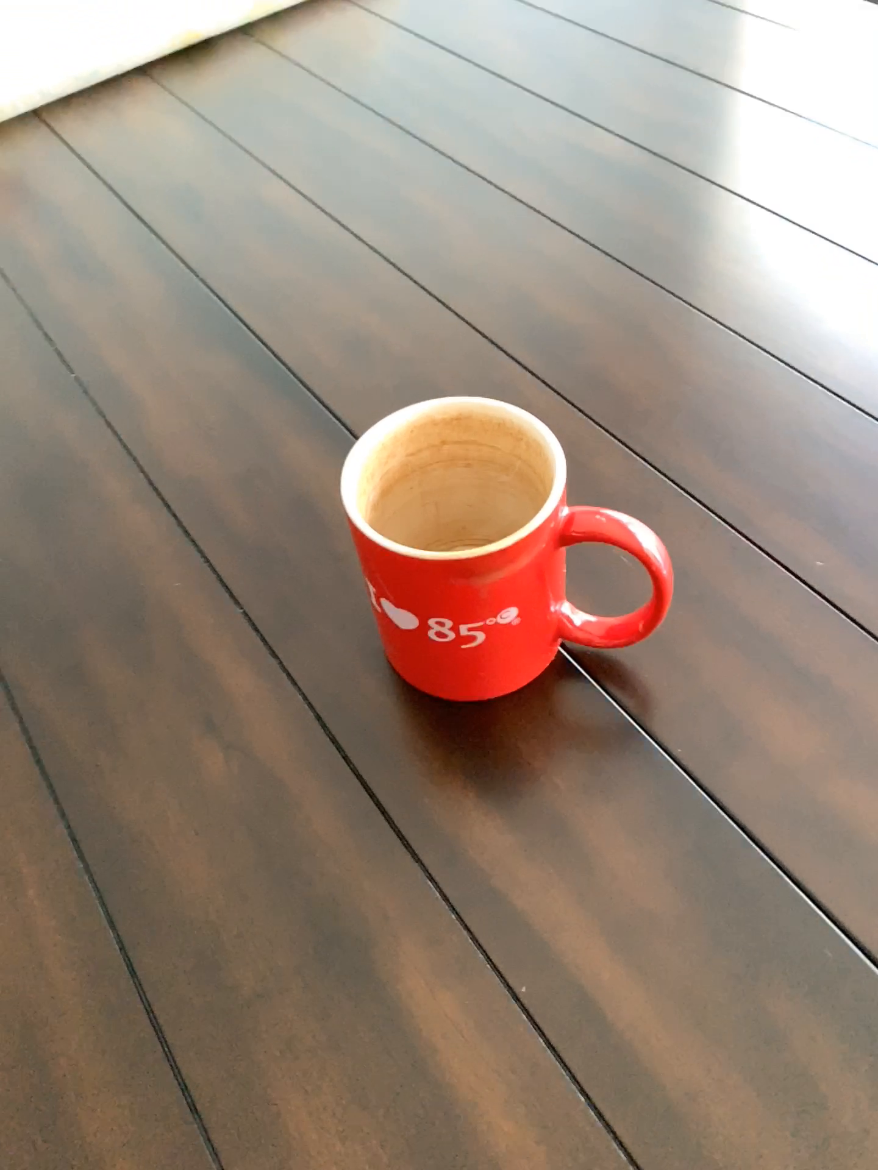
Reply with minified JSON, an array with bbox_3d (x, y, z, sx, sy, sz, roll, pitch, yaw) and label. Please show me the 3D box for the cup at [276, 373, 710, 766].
[{"bbox_3d":[0.025,-0.008,0.354,0.130,0.090,0.090,15,55,18],"label":"cup"}]
